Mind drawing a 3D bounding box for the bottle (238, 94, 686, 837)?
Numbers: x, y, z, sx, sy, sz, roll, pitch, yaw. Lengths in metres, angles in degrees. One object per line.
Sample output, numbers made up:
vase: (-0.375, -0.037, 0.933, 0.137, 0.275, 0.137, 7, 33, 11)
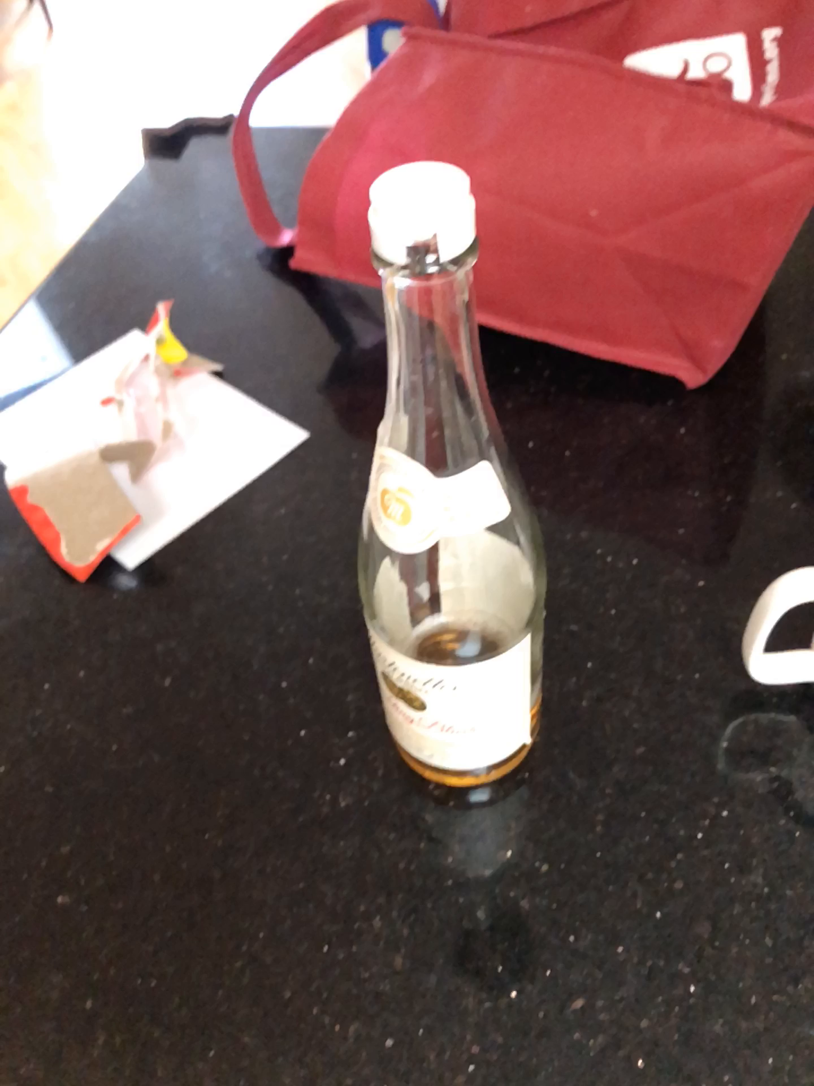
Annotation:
bottle: (0.030, -0.001, 0.402, 0.101, 0.330, 0.093, -3, 50, 4)
